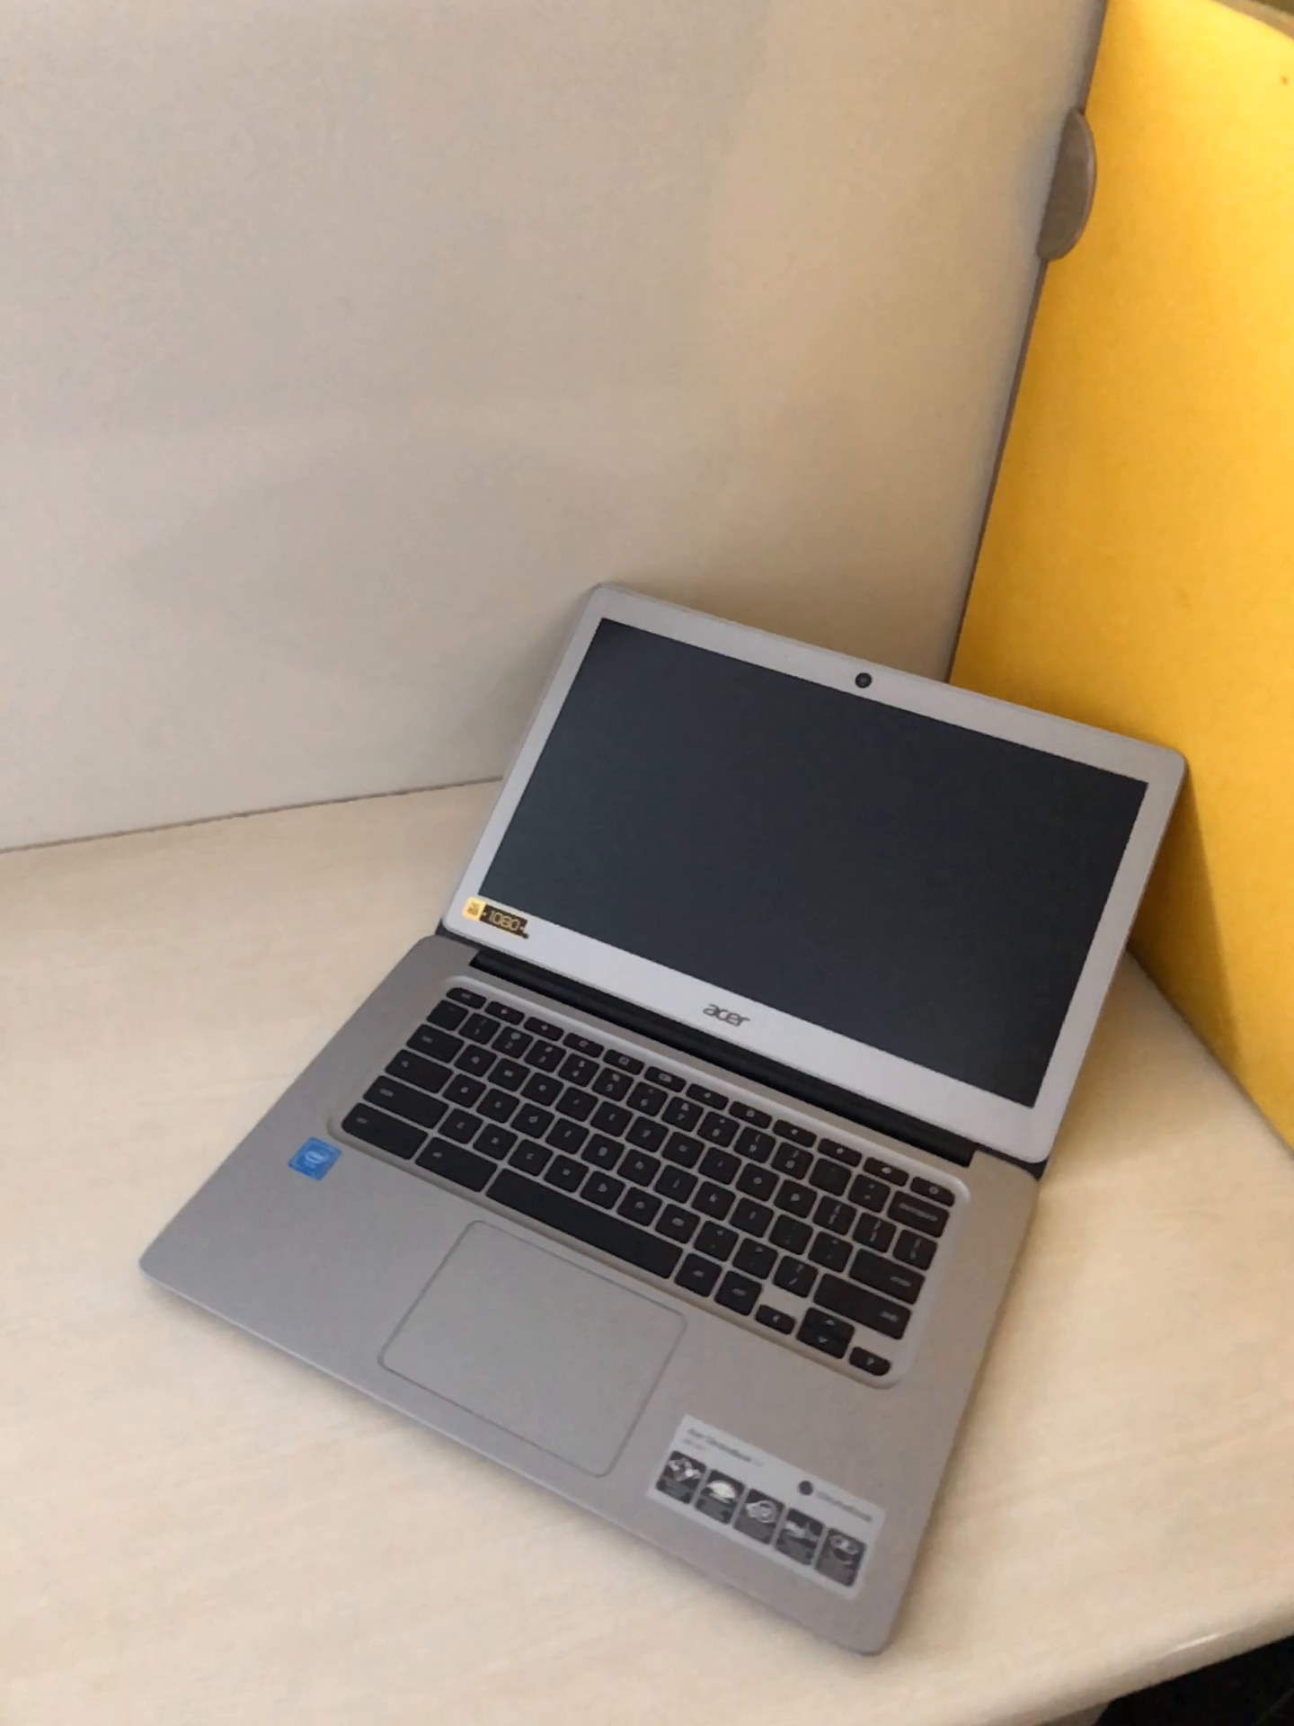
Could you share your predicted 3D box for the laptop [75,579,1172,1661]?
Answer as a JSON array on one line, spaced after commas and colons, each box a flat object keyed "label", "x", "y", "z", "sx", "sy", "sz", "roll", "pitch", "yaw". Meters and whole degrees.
[{"label": "laptop", "x": 0.021, "y": 0.063, "z": 0.650, "sx": 0.319, "sy": 0.123, "sz": 0.411, "roll": 20, "pitch": 46, "yaw": 18}]
